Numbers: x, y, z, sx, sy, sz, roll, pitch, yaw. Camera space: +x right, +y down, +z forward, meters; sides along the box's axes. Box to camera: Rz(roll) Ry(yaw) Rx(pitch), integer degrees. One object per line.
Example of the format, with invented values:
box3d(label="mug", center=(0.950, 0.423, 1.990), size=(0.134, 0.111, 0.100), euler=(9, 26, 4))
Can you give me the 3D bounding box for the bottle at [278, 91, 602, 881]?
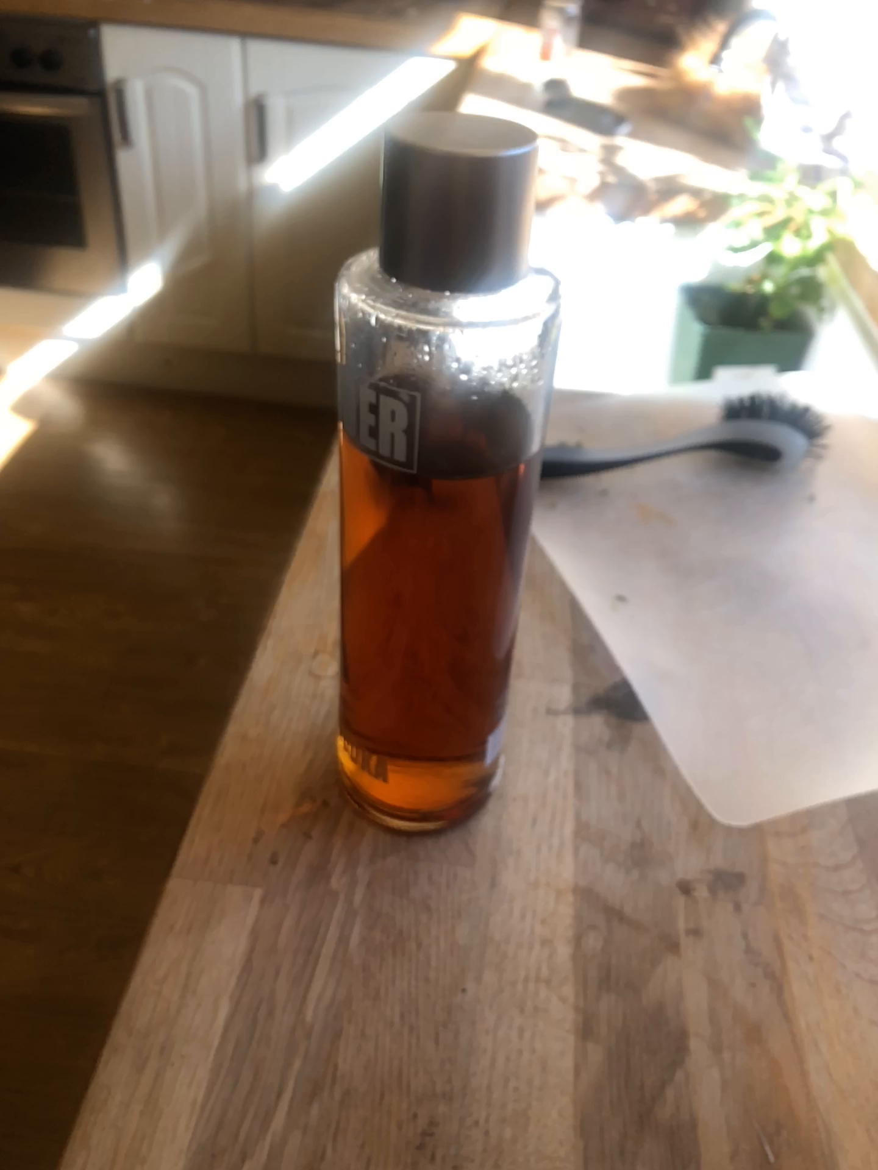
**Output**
box3d(label="bottle", center=(-0.005, -0.017, 0.361), size=(0.080, 0.278, 0.081), euler=(3, 37, -2))
